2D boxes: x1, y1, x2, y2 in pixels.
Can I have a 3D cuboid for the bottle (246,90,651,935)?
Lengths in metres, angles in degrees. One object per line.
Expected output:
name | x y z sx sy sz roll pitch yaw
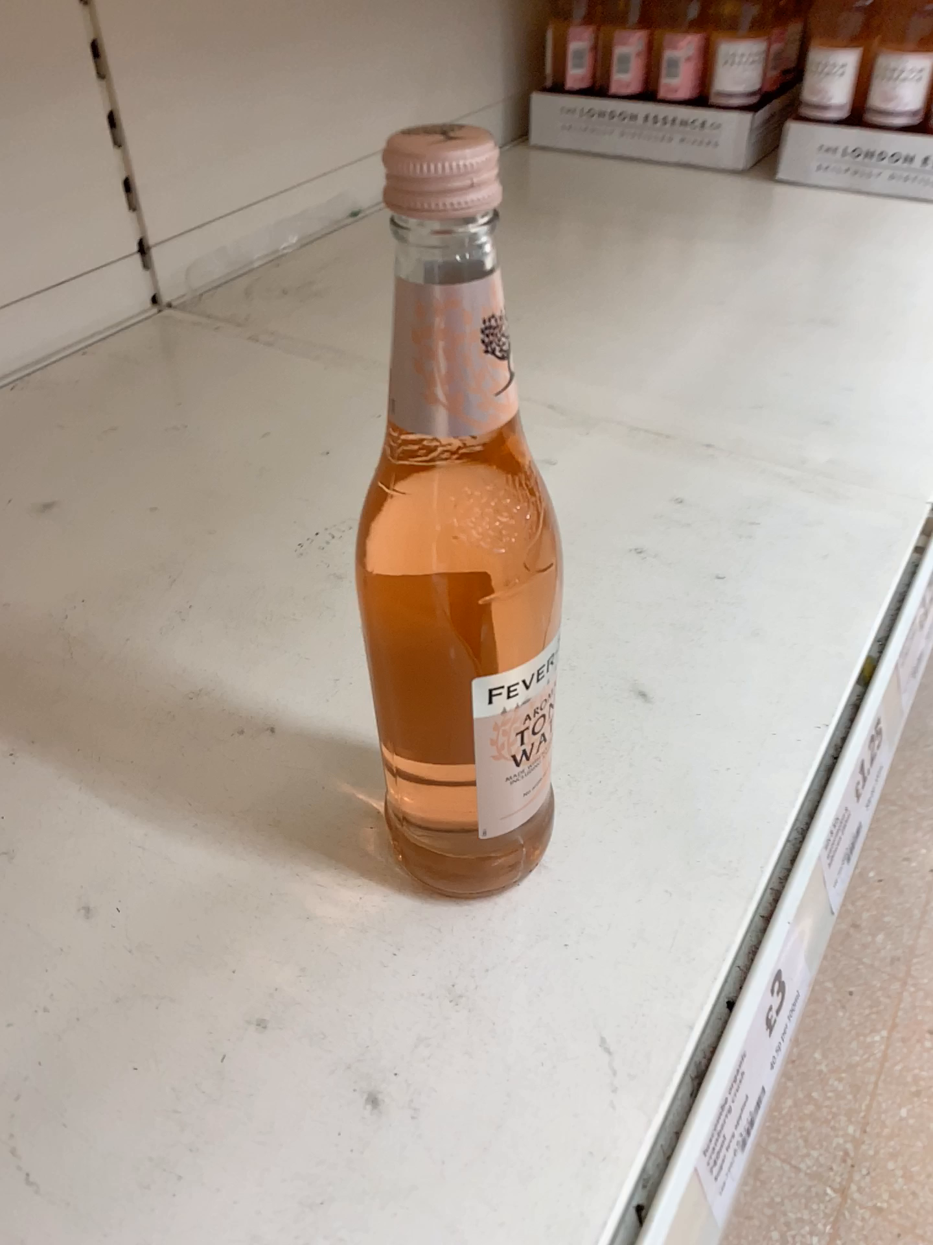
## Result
bottle | 0.002 -0.017 0.304 0.067 0.253 0.078 16 43 21
